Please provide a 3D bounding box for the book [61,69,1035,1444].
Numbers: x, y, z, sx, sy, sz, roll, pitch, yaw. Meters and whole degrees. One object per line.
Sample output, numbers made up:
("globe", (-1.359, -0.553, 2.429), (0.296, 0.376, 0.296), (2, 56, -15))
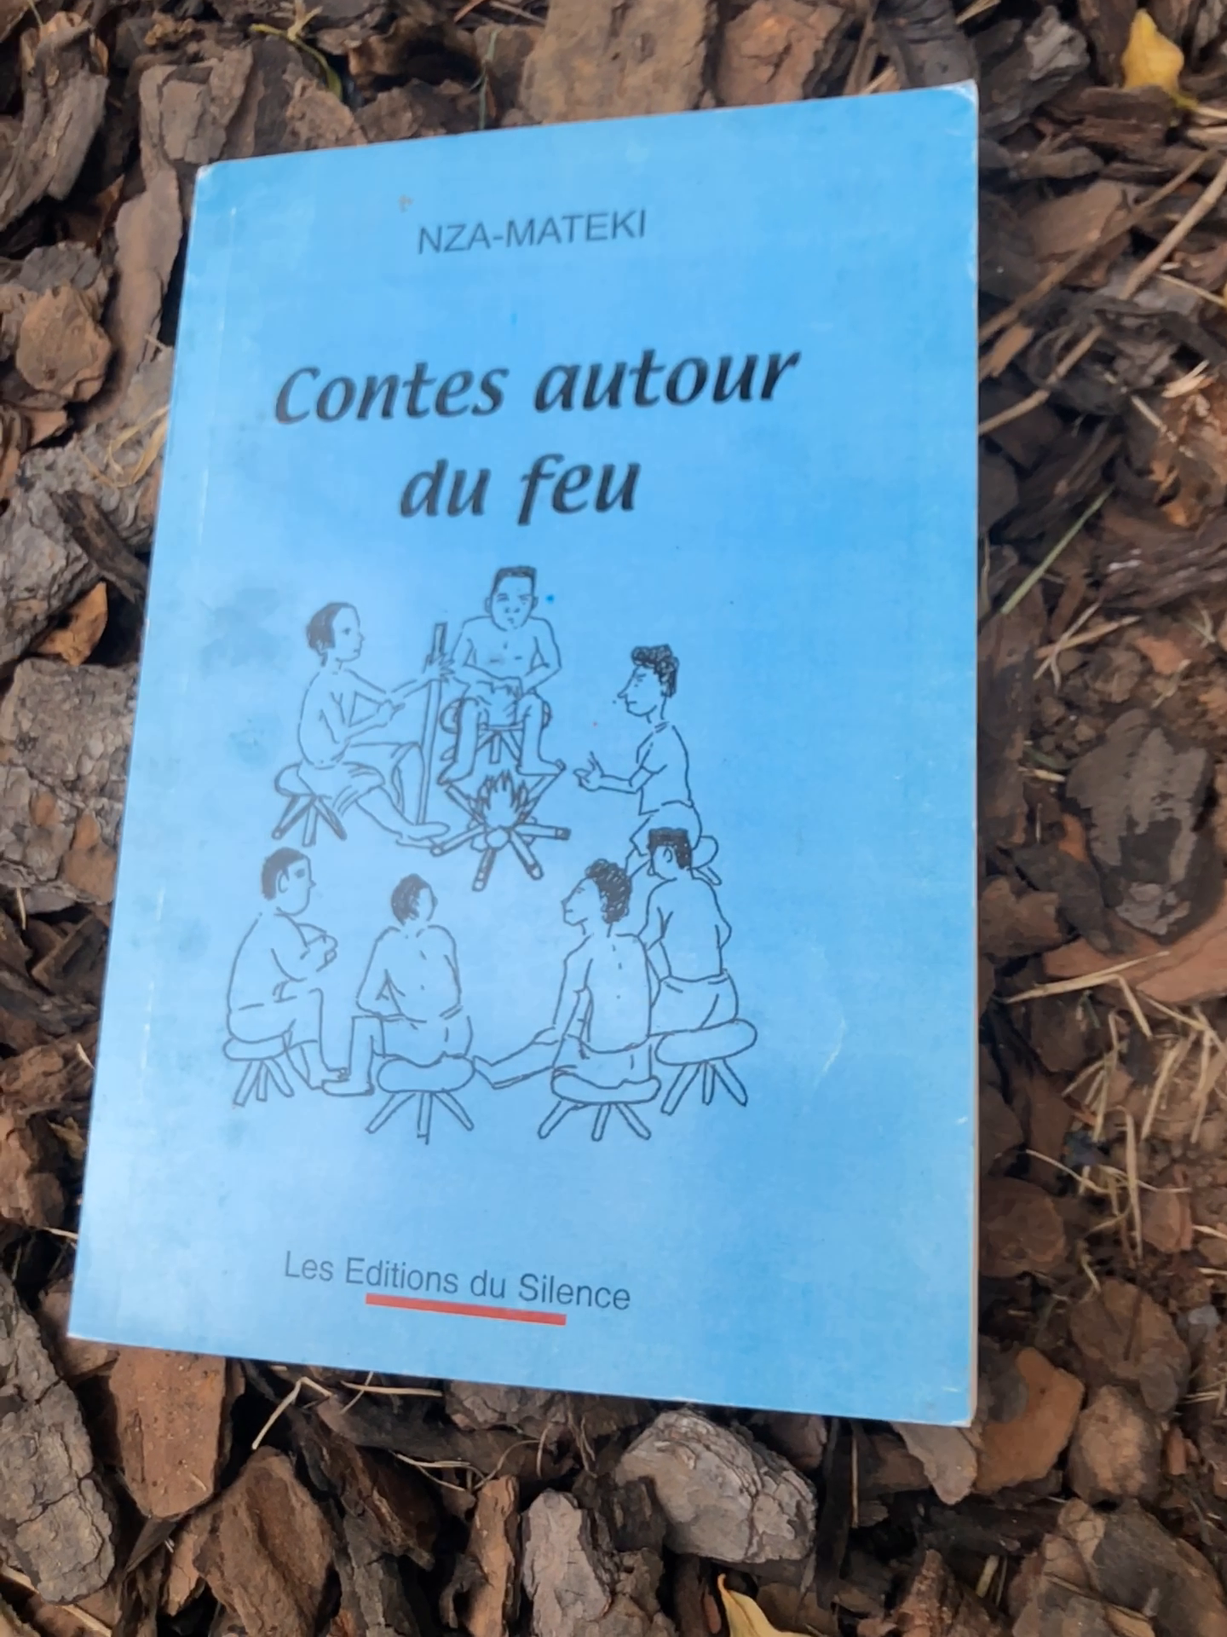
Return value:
("book", (-0.008, -0.017, 0.221), (0.144, 0.015, 0.202), (1, 80, 13))
